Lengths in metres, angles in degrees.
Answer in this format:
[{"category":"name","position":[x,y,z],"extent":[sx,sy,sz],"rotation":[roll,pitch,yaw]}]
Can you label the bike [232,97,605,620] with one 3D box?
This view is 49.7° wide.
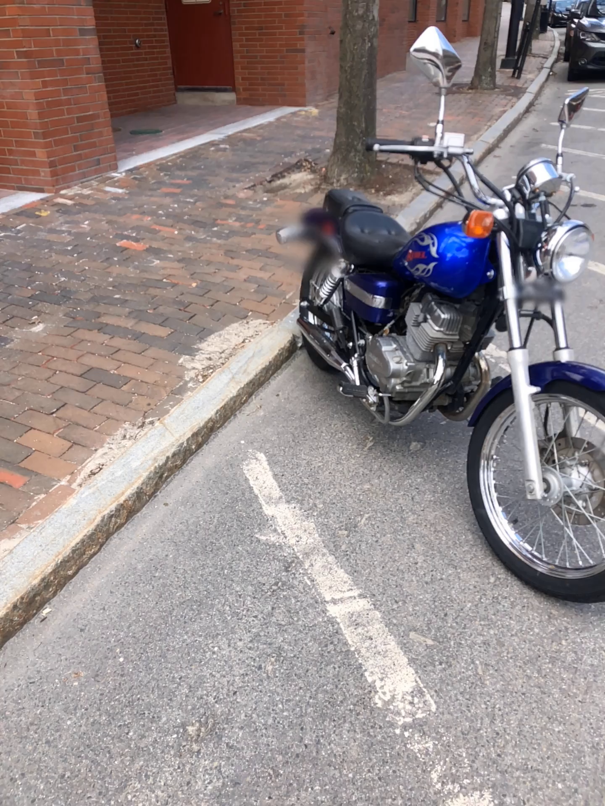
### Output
[{"category":"bike","position":[0.510,-0.407,2.140],"extent":[0.789,1.037,1.916],"rotation":[-14,29,-21]}]
